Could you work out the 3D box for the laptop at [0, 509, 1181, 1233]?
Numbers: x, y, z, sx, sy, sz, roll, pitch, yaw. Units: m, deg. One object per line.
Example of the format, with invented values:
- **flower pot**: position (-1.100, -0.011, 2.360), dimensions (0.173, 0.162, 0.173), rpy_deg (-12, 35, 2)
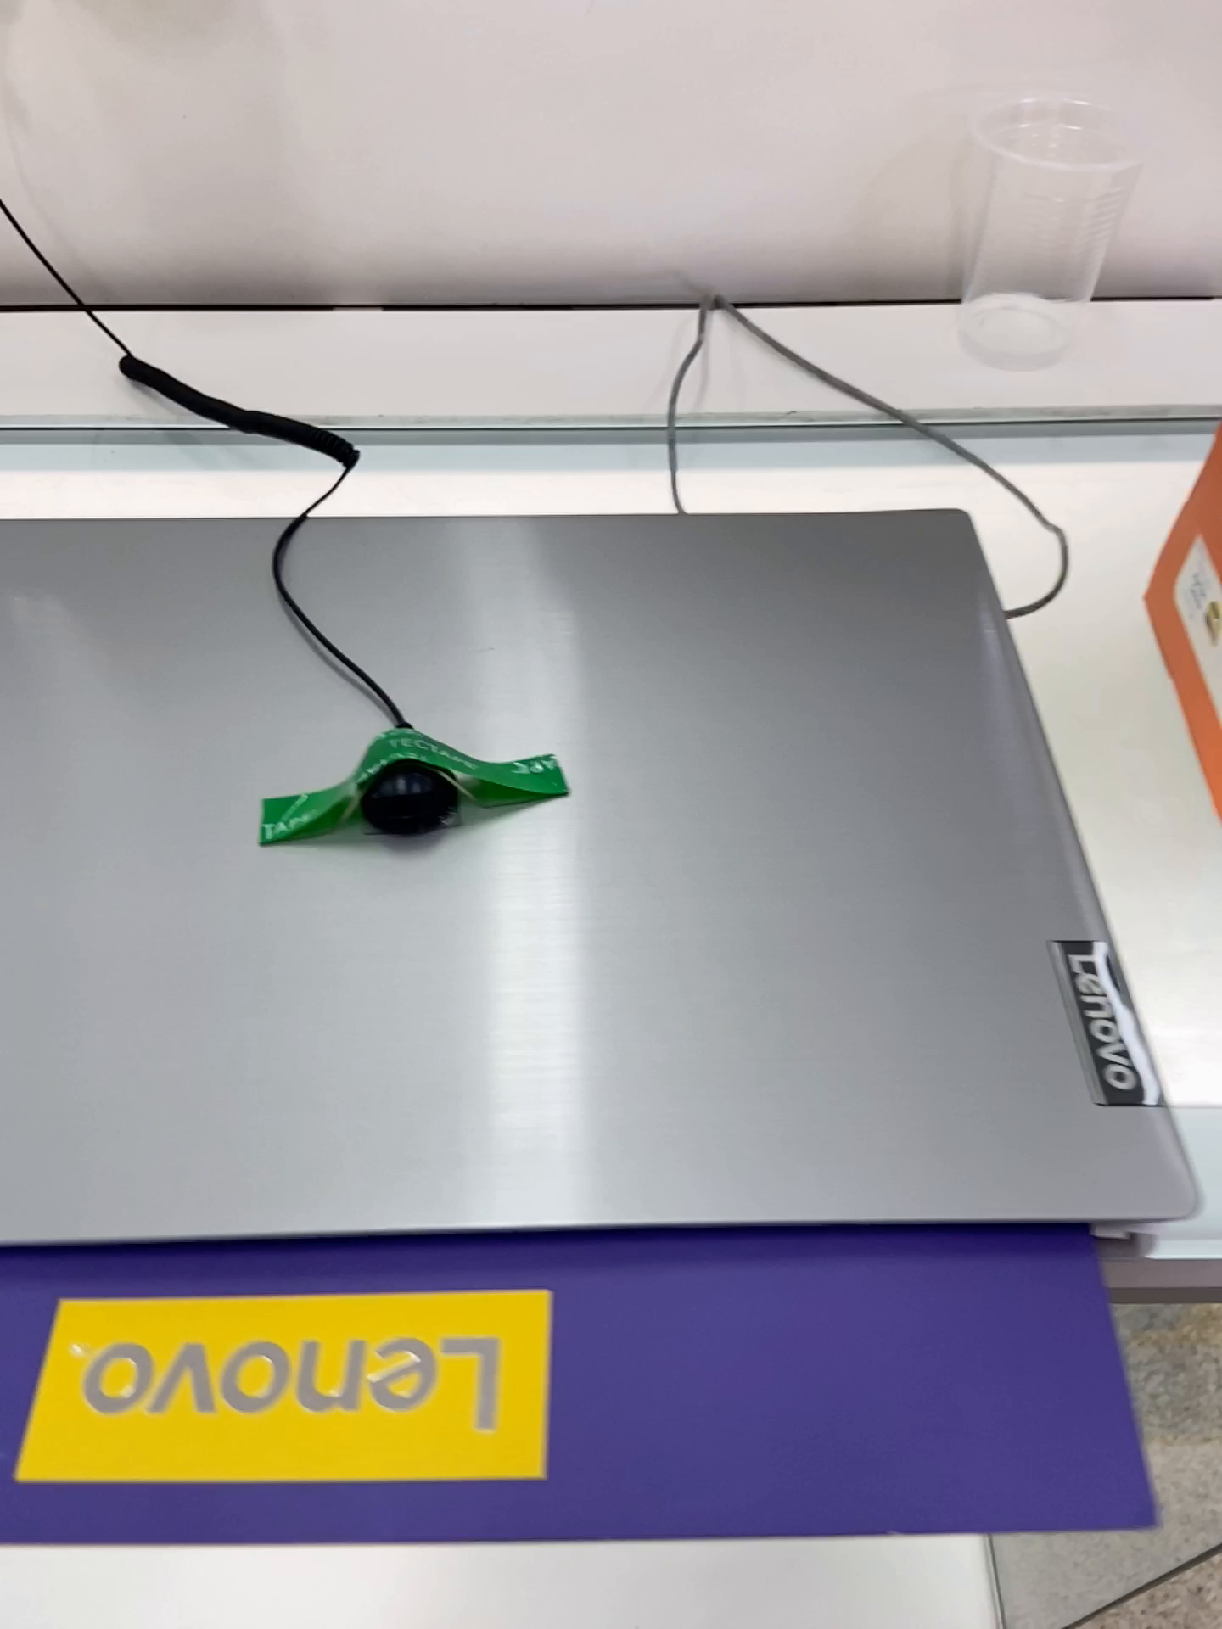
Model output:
- **laptop**: position (-0.062, -0.006, 0.345), dimensions (0.362, 0.001, 0.241), rpy_deg (-1, 50, 0)
